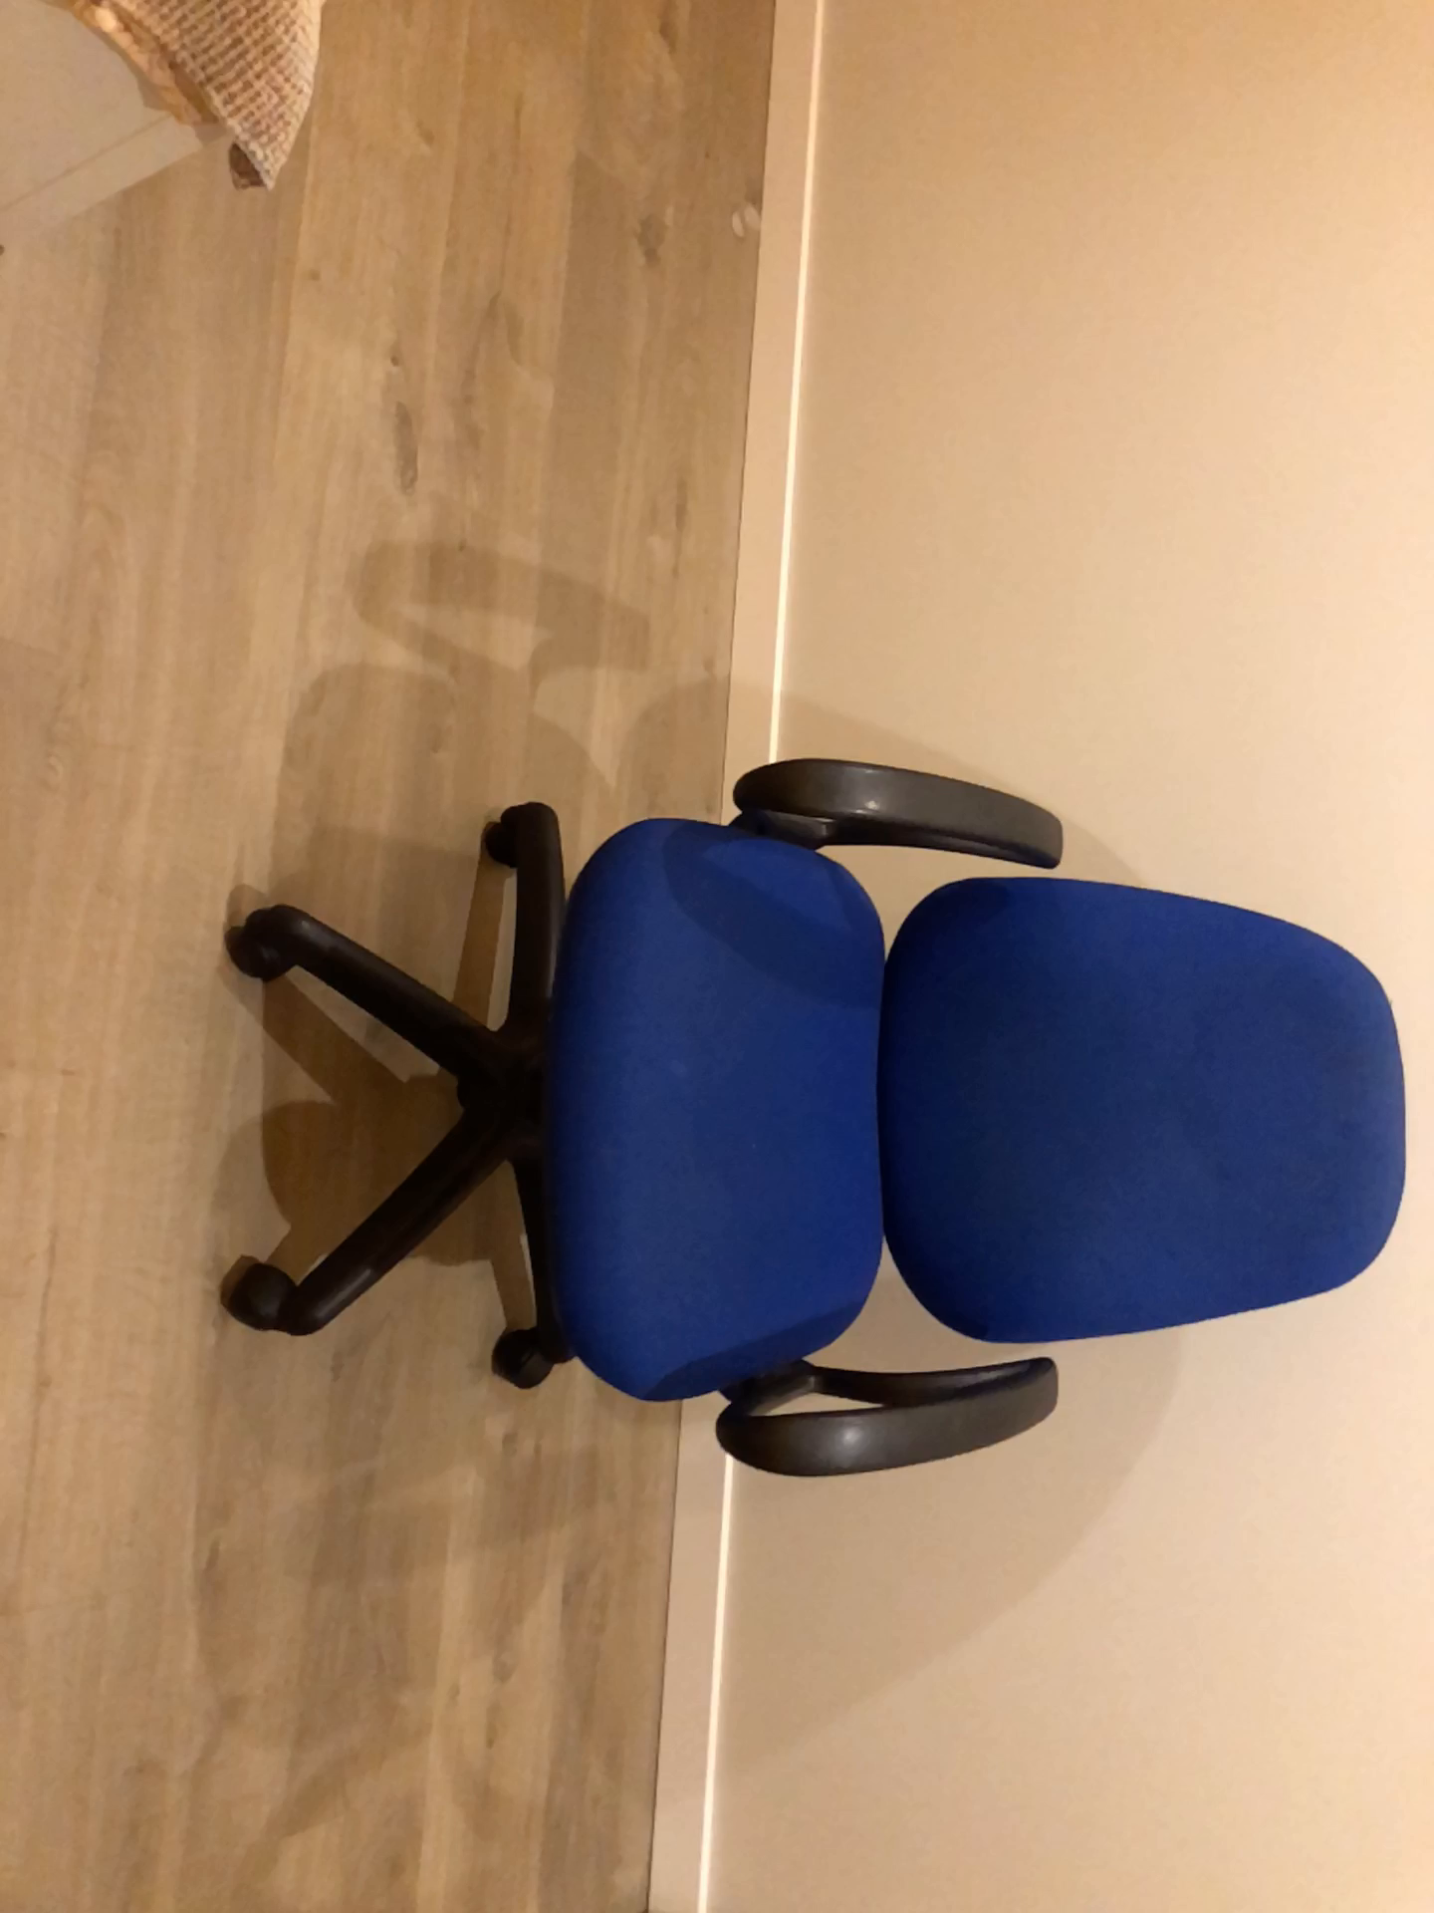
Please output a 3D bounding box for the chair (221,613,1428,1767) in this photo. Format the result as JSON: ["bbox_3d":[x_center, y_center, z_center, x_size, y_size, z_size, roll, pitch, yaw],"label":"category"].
[{"bbox_3d":[0.109,0.157,1.500,0.704,0.904,0.696,3,86,-54],"label":"chair"}]
